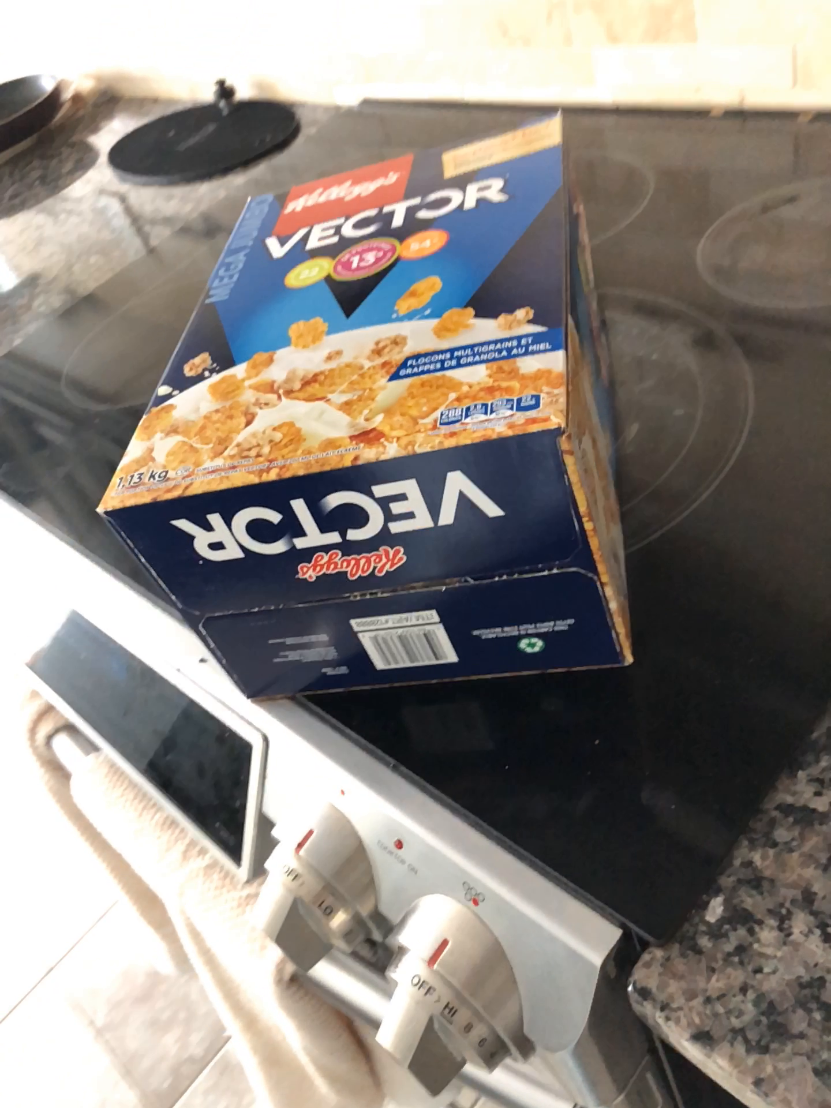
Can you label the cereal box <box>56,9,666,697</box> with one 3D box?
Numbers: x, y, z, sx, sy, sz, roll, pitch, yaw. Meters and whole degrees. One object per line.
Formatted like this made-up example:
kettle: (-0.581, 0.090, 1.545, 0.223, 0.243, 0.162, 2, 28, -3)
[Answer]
cereal box: (-0.002, -0.111, 0.497, 0.220, 0.169, 0.311, -8, 49, 16)
